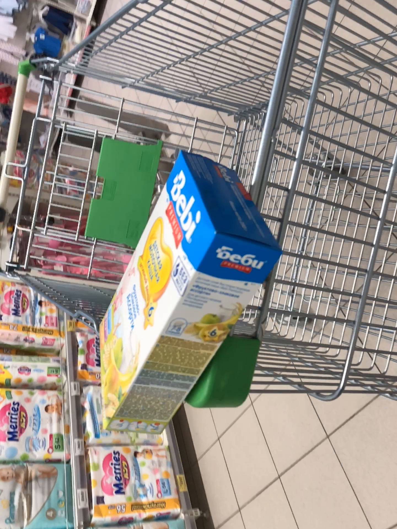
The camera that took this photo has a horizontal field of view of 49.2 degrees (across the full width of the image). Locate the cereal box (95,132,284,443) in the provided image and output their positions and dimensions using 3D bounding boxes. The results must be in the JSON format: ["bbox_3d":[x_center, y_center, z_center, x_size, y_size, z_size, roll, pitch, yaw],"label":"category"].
[{"bbox_3d":[-0.029,0.020,0.365,0.210,0.050,0.150,-61,27,29],"label":"cereal box"}]
